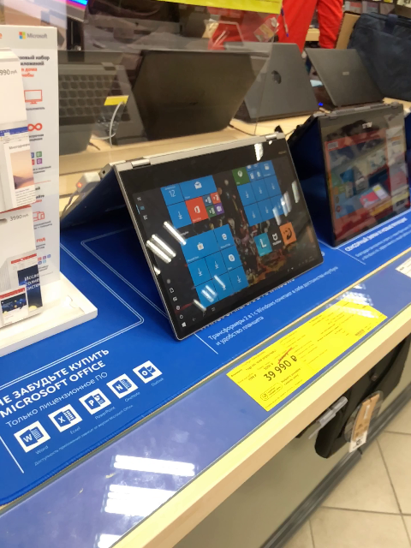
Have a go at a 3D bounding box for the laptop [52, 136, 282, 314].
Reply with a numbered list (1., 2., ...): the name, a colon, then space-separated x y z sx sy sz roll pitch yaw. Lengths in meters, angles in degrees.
1. laptop: -0.072 -0.080 0.788 0.337 0.150 0.210 -23 16 -39
